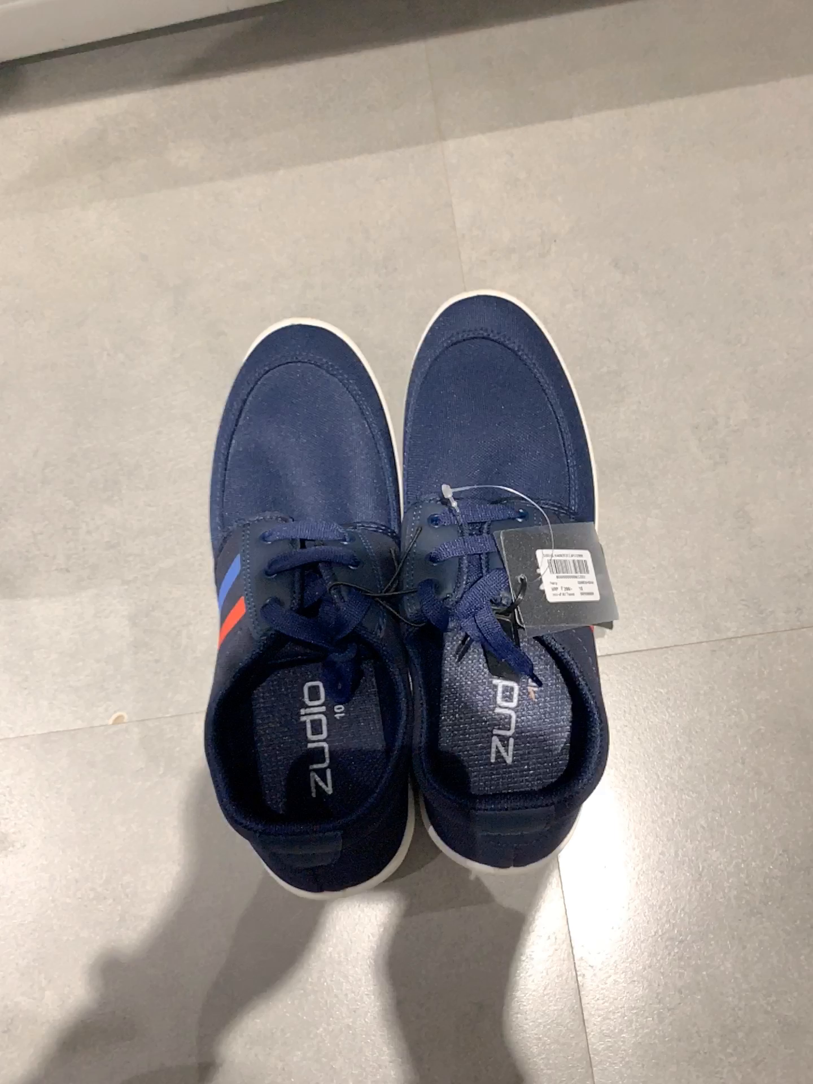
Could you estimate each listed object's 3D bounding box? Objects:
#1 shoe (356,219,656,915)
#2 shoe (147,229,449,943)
[{"bbox_3d":[0.042,0.009,0.419,0.120,0.100,0.310,-1,77,4],"label":"shoe"},{"bbox_3d":[-0.051,0.017,0.417,0.120,0.100,0.310,-4,77,3],"label":"shoe"}]
